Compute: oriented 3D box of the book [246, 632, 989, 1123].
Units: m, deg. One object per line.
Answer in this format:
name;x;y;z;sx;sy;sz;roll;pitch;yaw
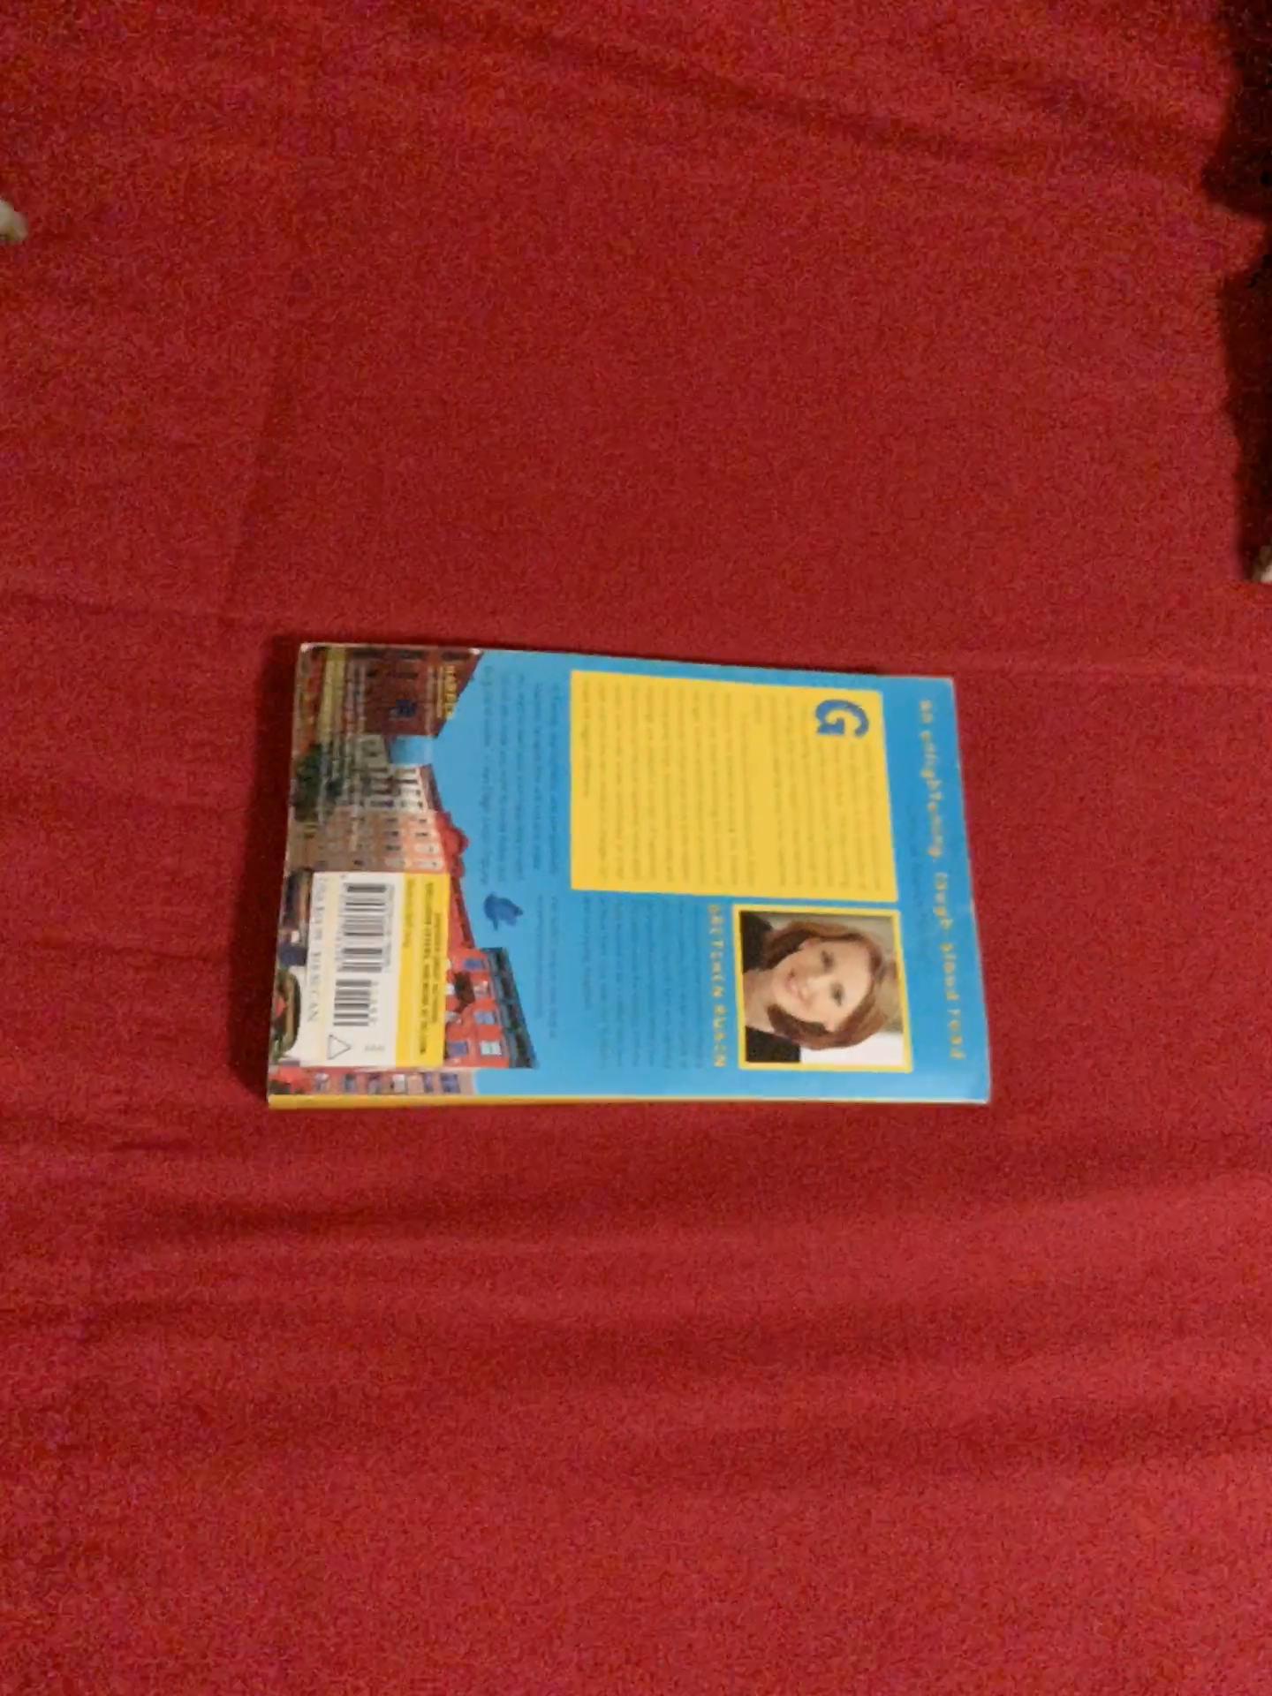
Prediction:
book;-0.004;0.011;0.389;0.202;0.033;0.133;3;71;-9
